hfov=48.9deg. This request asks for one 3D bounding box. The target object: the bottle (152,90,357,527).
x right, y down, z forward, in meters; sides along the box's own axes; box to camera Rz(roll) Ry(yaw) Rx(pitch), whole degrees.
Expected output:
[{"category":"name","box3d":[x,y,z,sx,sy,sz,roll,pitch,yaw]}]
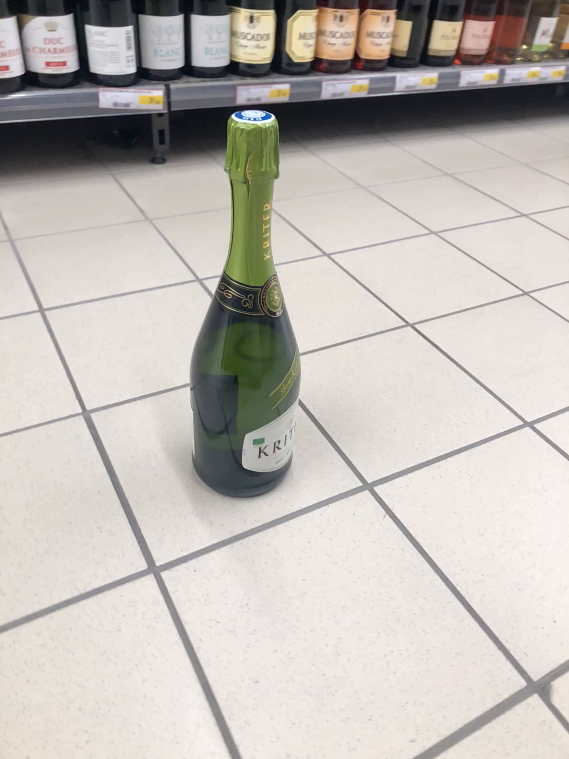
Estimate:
[{"category":"bottle","box3d":[-0.026,-0.041,0.482,0.090,0.308,0.101,21,39,20]}]
